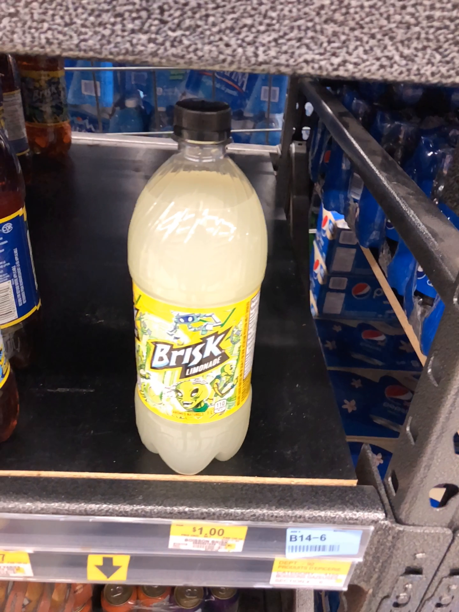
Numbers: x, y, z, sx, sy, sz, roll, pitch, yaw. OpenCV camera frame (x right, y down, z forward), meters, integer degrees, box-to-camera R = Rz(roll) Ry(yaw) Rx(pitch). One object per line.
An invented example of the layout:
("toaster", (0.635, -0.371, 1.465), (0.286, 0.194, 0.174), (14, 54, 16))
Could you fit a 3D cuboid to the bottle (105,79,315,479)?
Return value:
("bottle", (-0.017, -0.007, 0.316), (0.090, 0.228, 0.091), (4, 33, -2))
